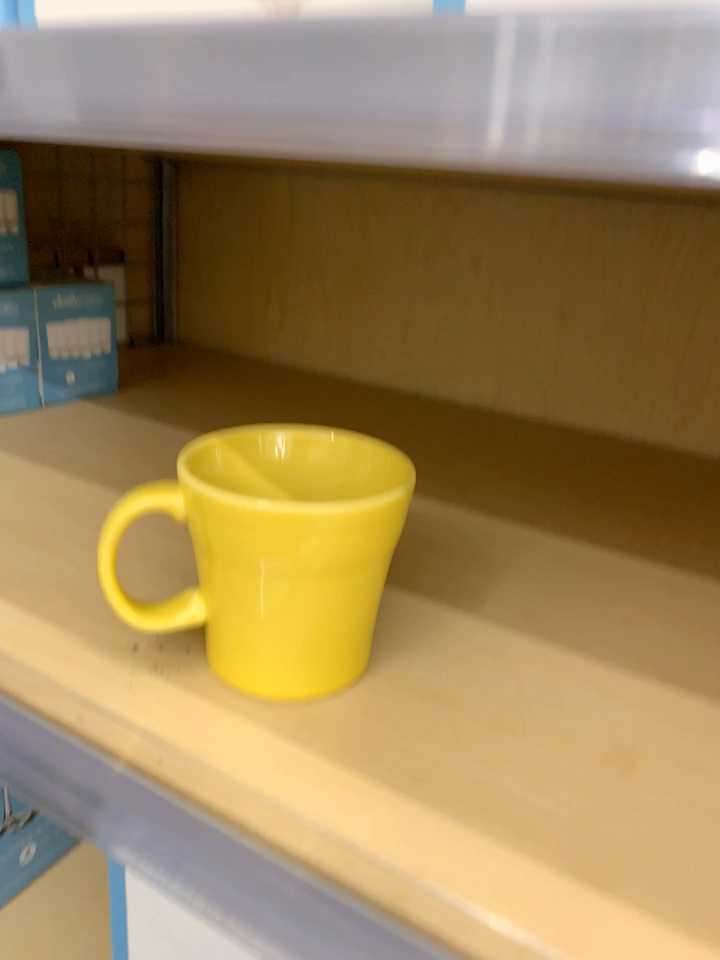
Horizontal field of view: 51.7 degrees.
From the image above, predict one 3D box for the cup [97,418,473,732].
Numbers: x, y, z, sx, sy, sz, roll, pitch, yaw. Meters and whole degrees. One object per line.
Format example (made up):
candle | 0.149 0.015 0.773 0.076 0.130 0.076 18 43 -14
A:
cup | -0.041 0.032 0.339 0.139 0.088 0.104 -4 22 -23
